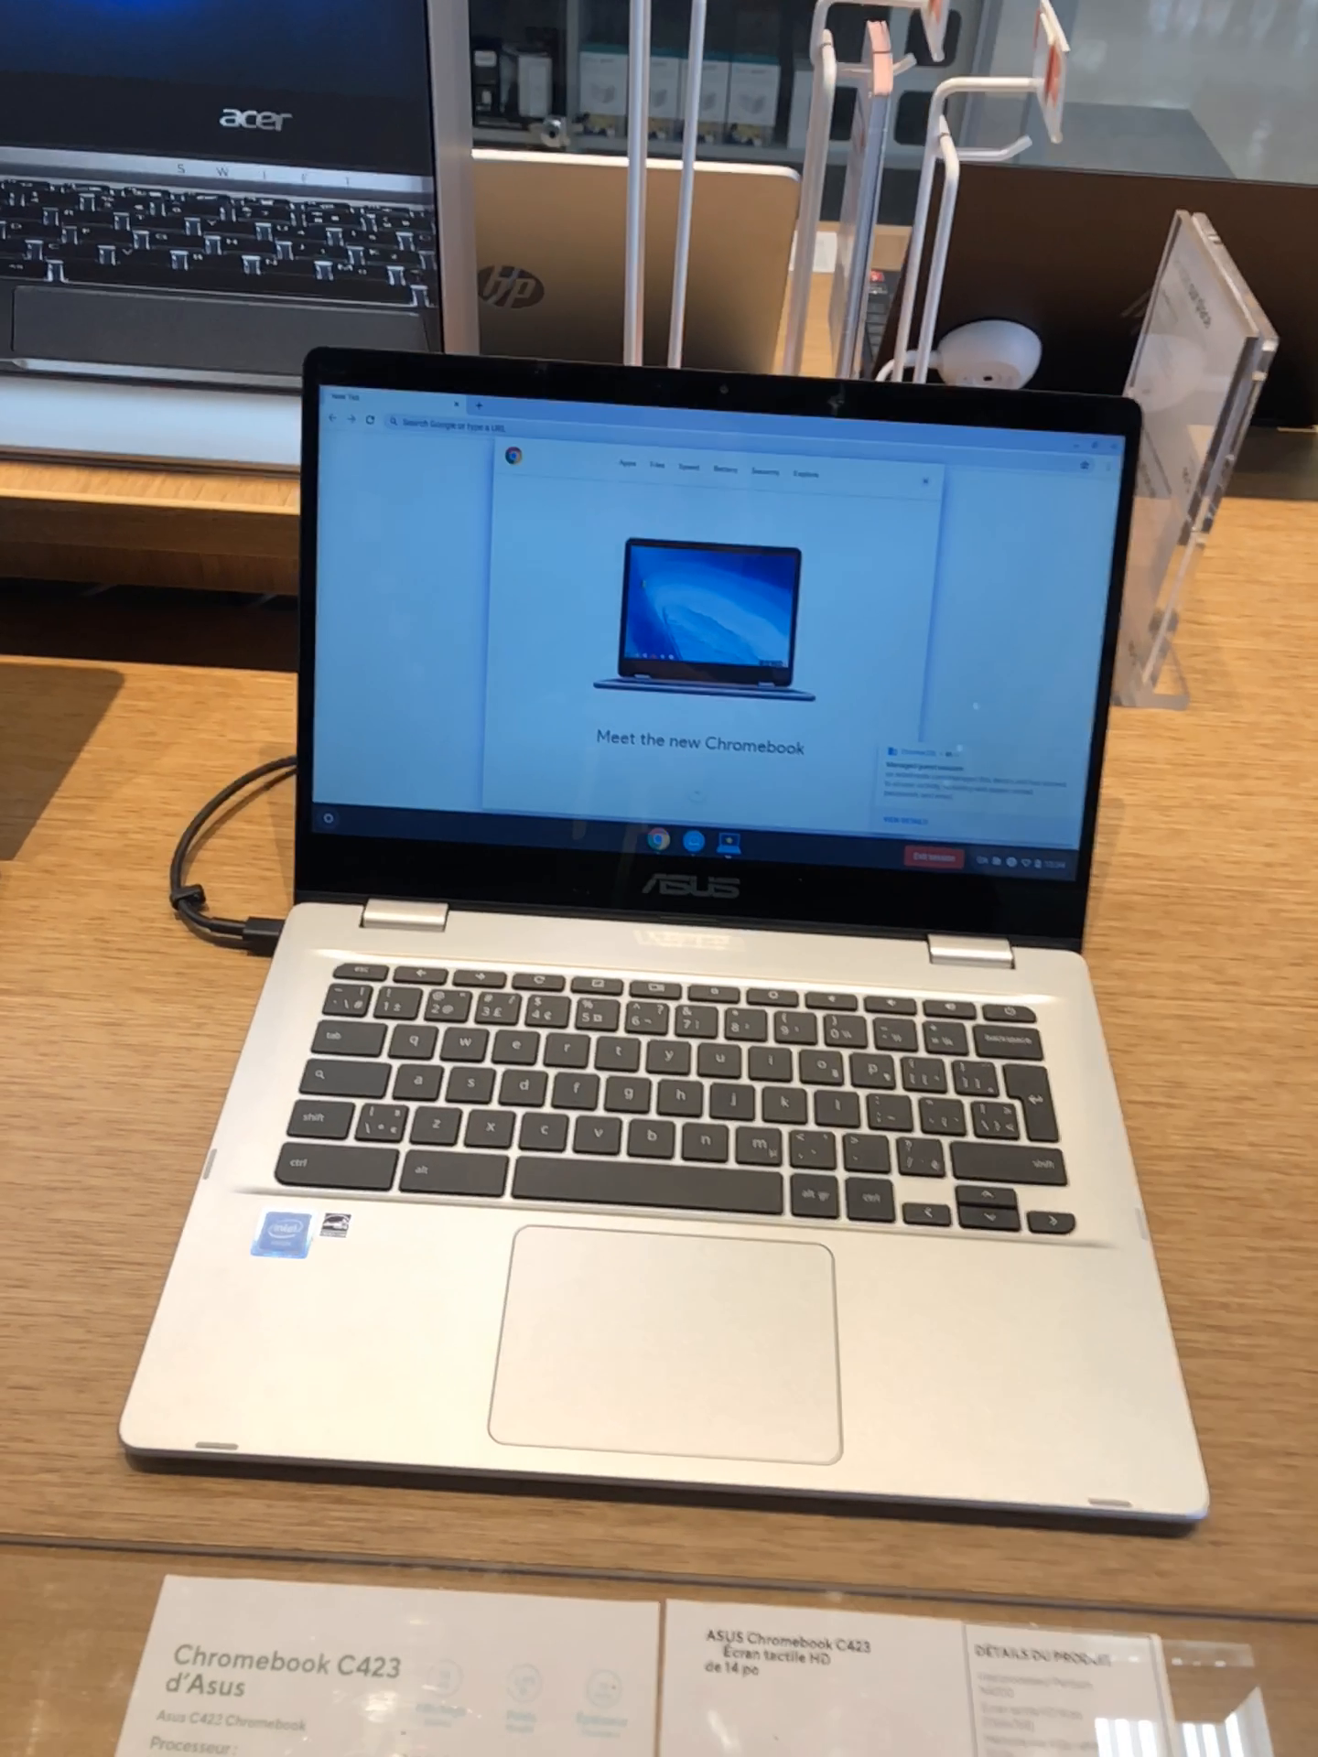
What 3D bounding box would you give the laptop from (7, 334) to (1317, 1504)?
[{"bbox_3d":[0.008,-0.010,0.473,0.281,0.186,0.337,3,42,-3],"label":"laptop"}]
